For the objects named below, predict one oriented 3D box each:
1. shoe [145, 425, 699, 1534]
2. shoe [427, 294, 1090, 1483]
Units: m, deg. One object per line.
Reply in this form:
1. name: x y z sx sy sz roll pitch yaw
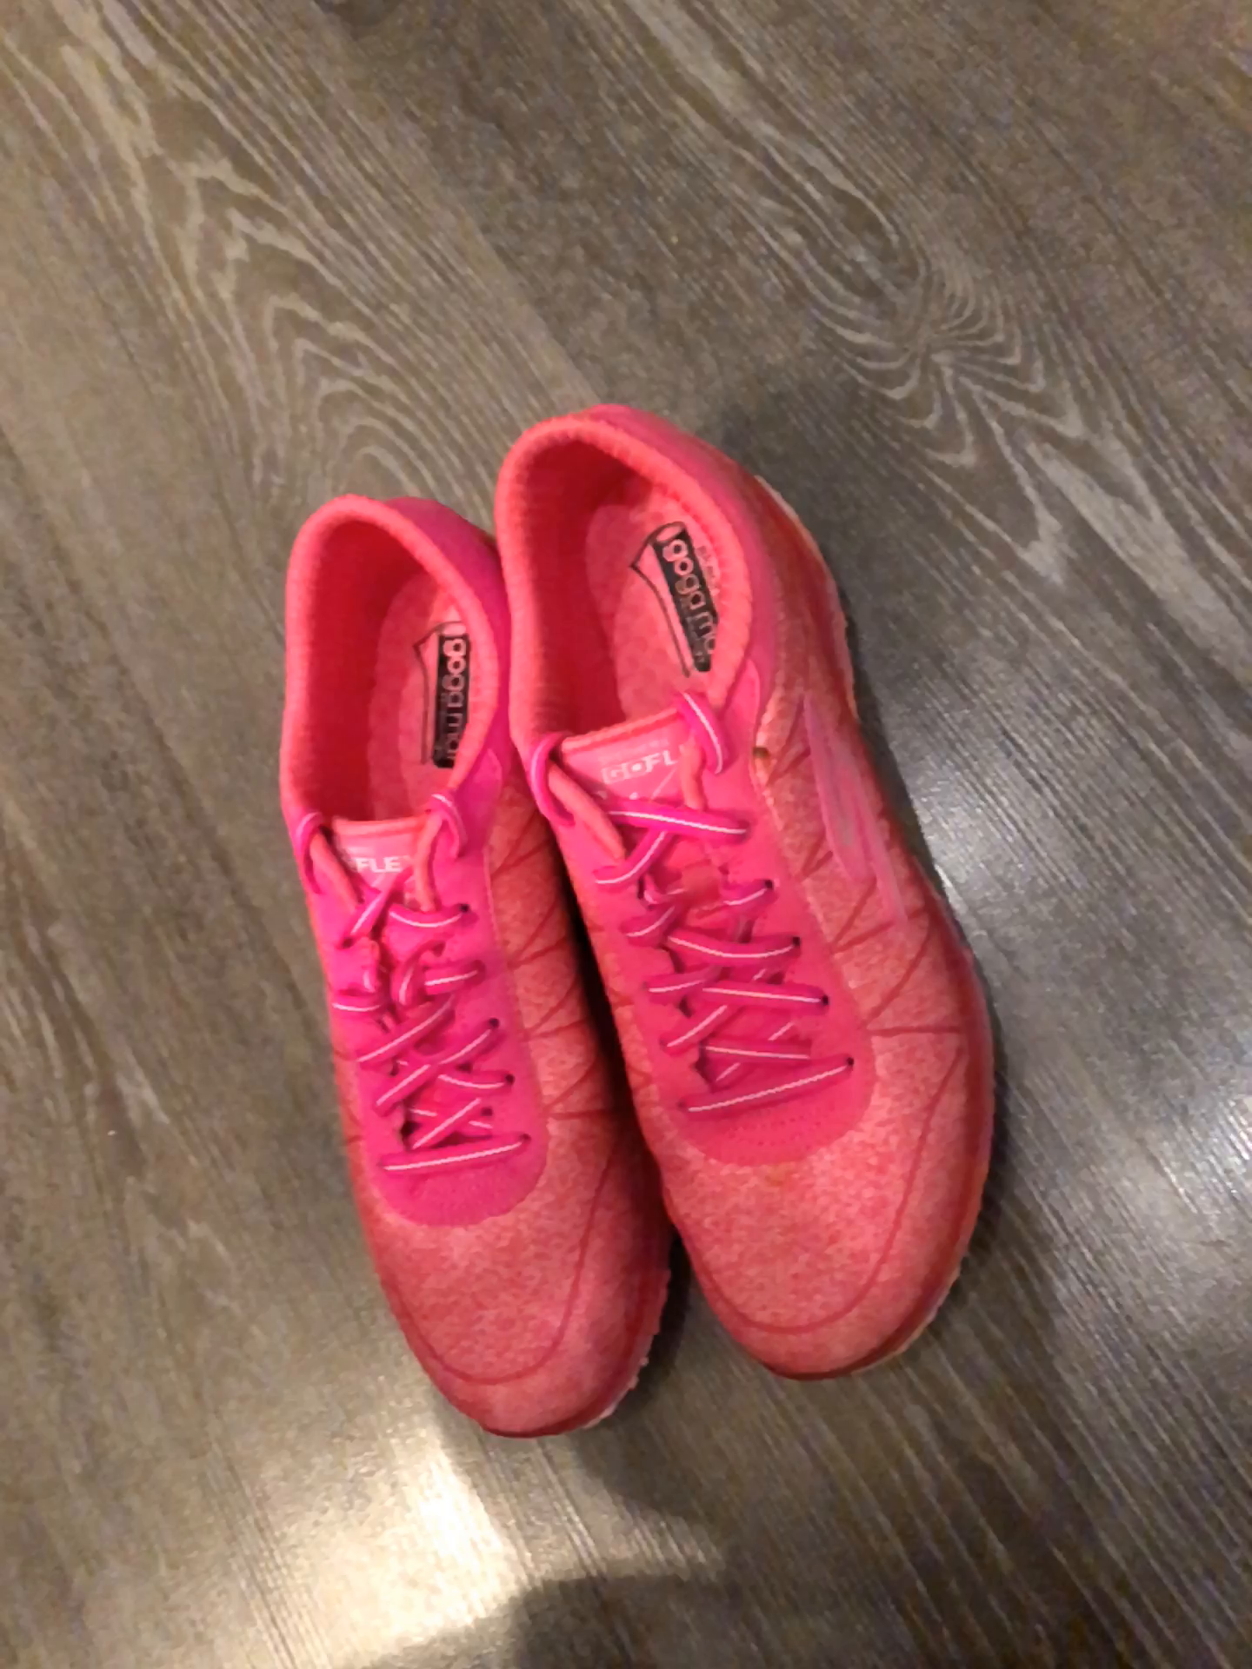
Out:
1. shoe: -0.056 0.038 0.382 0.100 0.090 0.260 -10 78 18
2. shoe: 0.034 0.013 0.362 0.100 0.090 0.260 -16 76 17
